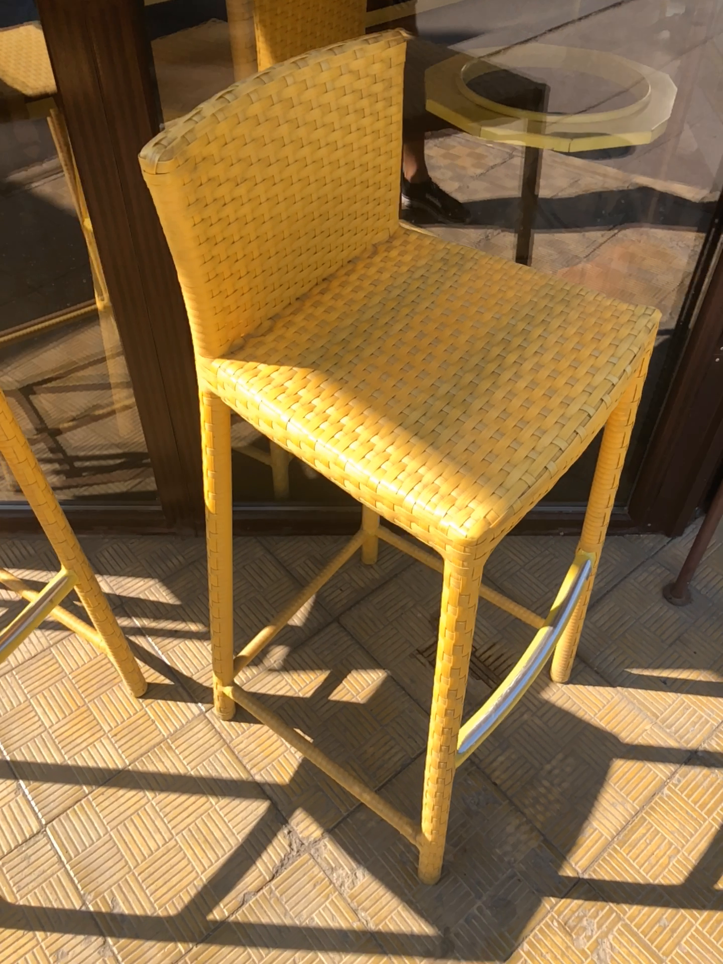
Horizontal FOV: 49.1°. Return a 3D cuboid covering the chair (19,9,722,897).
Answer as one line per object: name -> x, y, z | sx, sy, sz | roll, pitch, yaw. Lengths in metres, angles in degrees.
chair -> 0.054, 0.006, 1.025 | 0.521, 0.916, 0.481 | 28, 51, 24
